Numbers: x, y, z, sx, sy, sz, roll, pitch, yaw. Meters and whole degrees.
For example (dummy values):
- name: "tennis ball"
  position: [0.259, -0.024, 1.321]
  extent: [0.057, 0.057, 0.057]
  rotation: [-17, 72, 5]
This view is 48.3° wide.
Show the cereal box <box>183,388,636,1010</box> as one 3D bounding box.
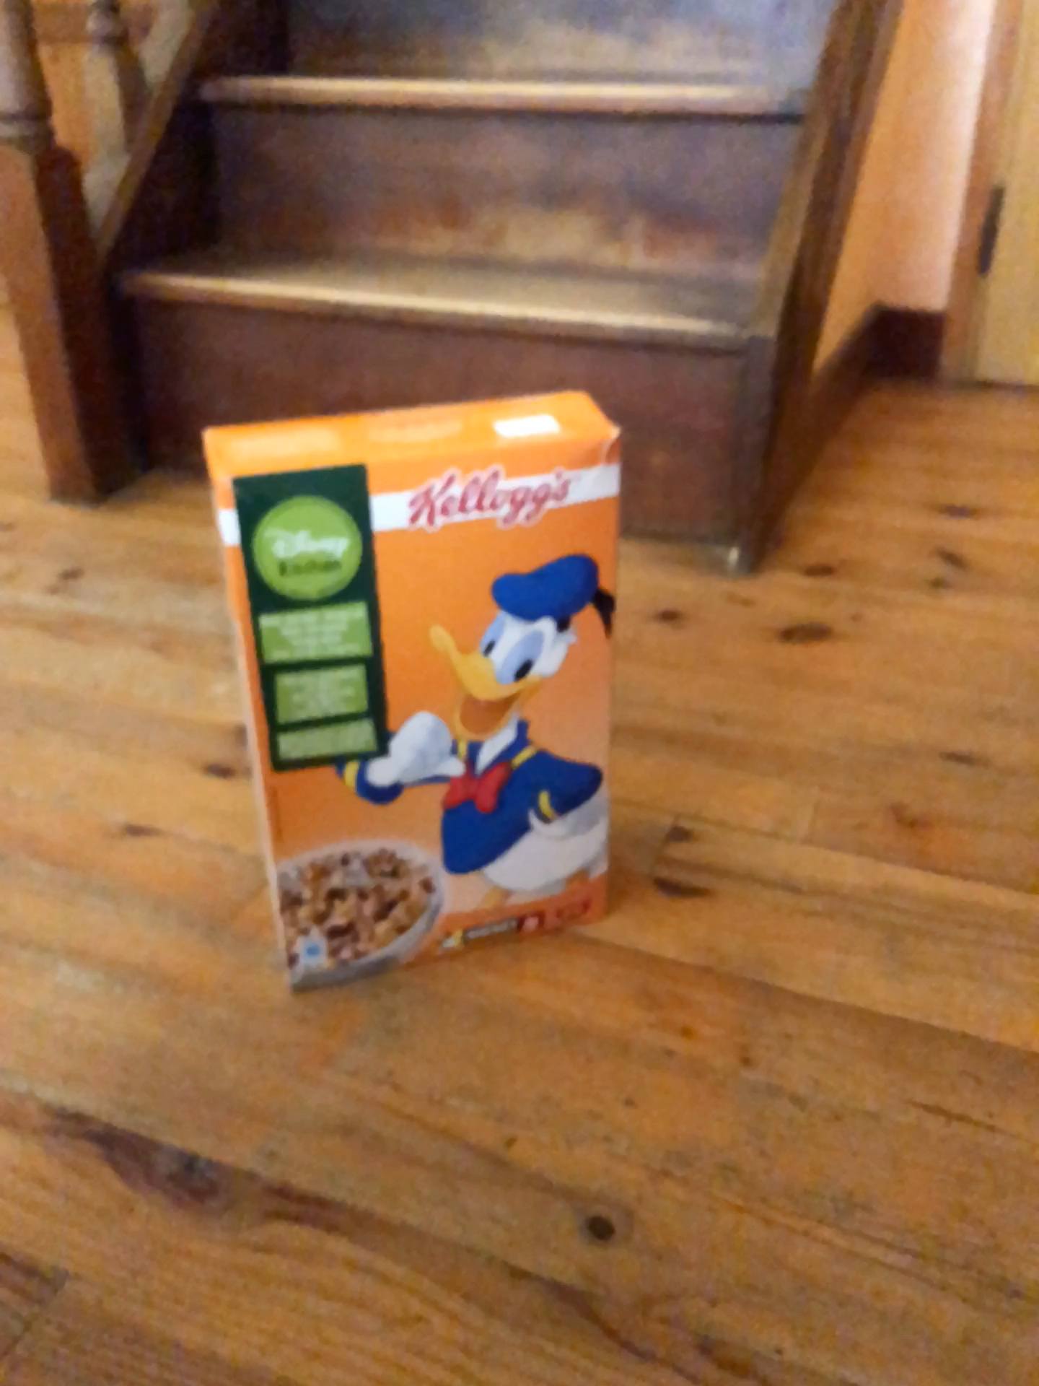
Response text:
- name: "cereal box"
  position: [-0.054, 0.004, 0.623]
  extent: [0.200, 0.298, 0.090]
  rotation: [-9, 29, -16]
